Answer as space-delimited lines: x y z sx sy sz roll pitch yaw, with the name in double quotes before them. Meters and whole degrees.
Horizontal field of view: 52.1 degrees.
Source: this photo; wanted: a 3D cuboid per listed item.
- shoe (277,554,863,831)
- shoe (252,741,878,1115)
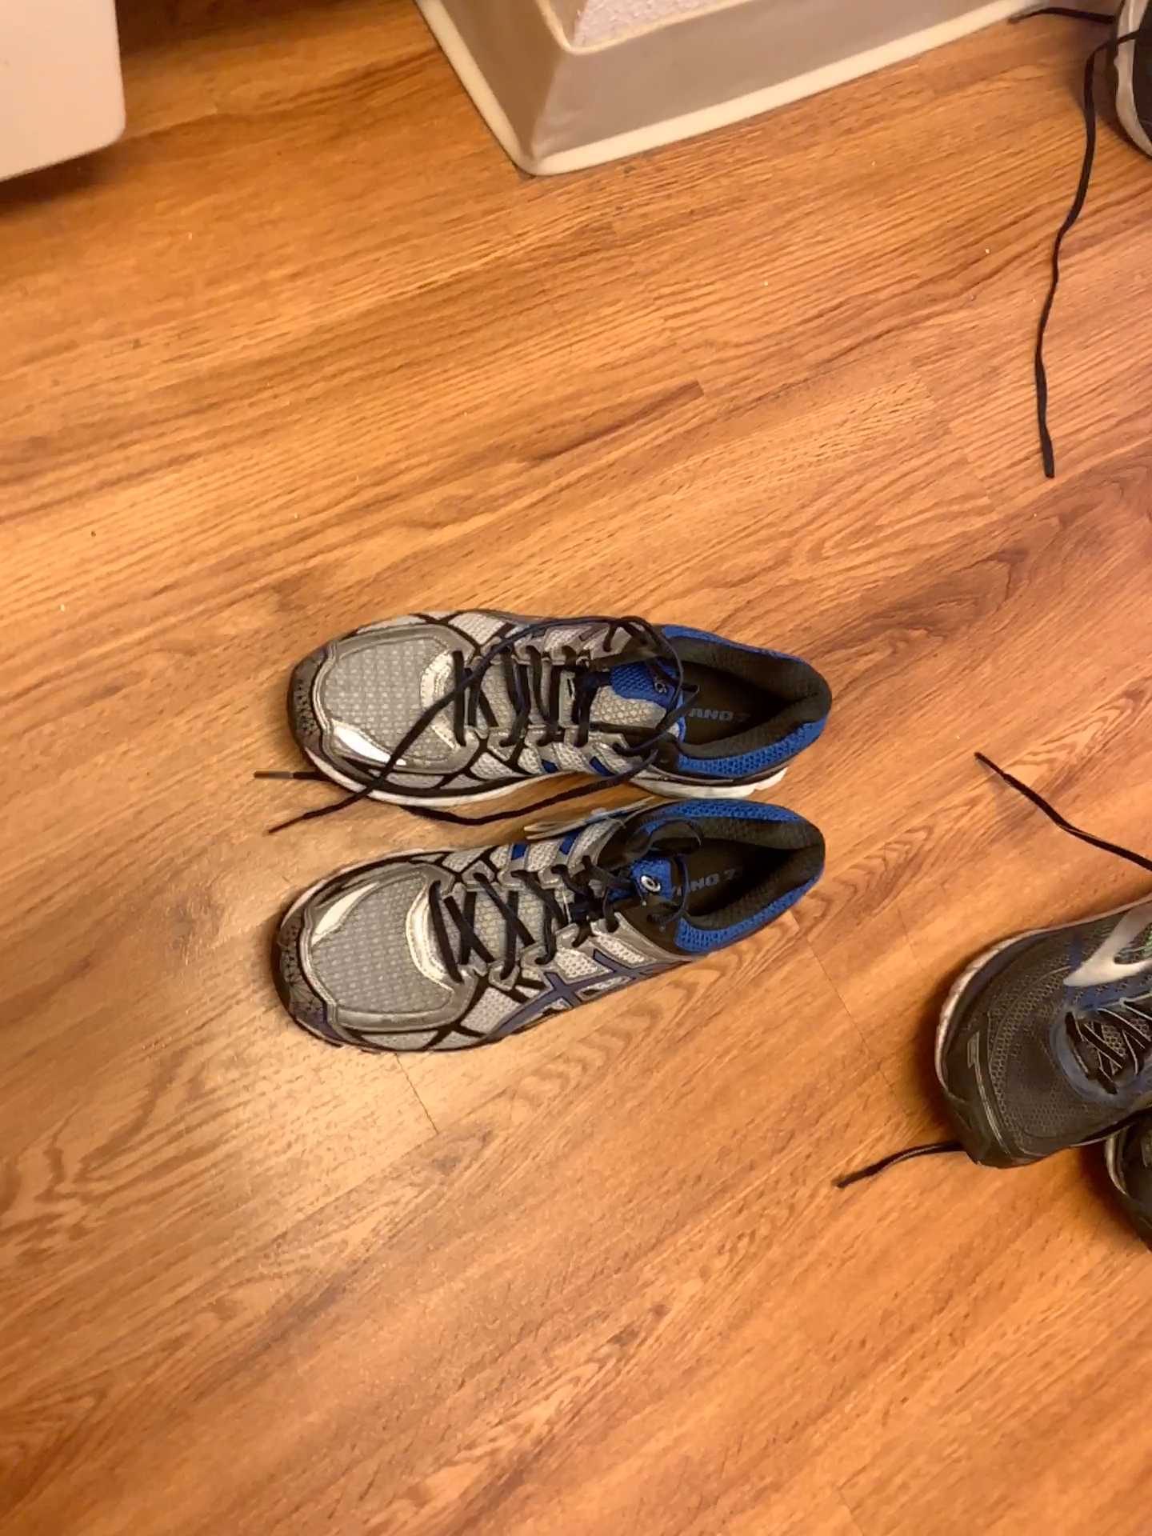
"shoe" -0.011 -0.034 0.626 0.280 0.130 0.110 -1 80 -16
"shoe" -0.012 0.080 0.625 0.290 0.130 0.110 -12 84 -18
